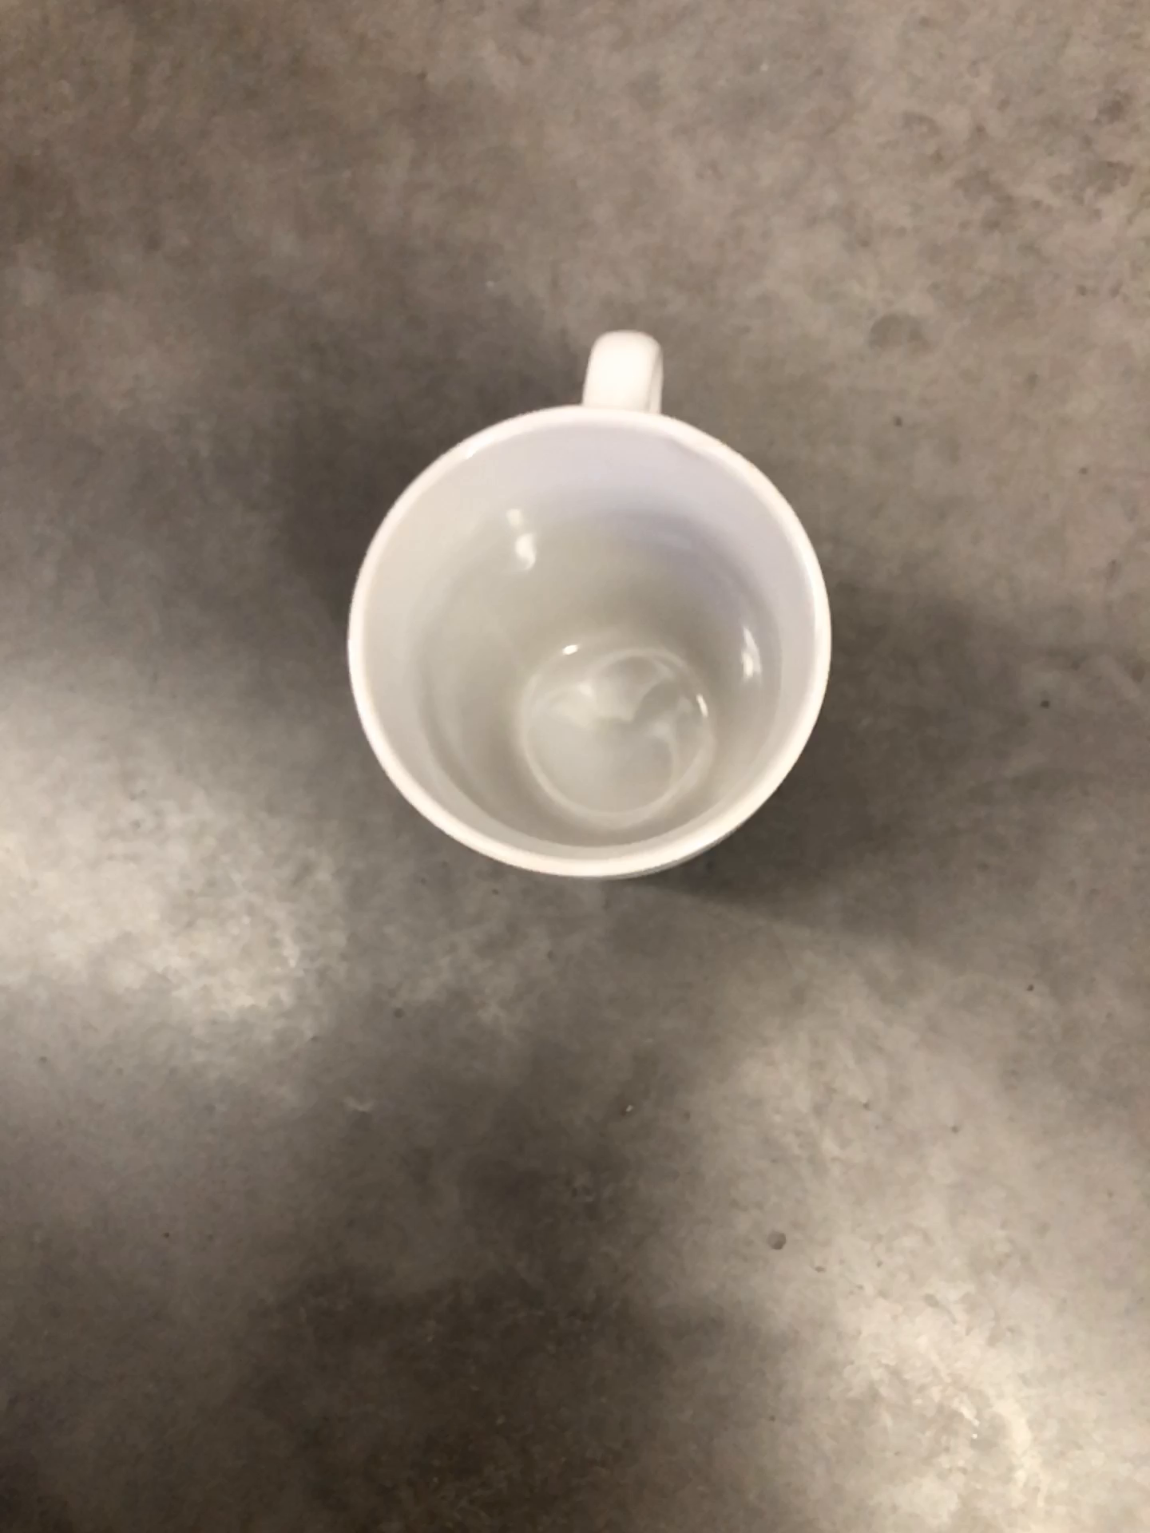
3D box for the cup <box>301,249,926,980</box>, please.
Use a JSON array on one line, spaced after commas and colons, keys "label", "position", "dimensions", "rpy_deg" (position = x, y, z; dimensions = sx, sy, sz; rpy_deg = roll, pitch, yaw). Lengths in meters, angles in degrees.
[{"label": "cup", "position": [0.013, -0.025, 0.298], "dimensions": [0.097, 0.107, 0.129], "rpy_deg": [10, 82, 6]}]
